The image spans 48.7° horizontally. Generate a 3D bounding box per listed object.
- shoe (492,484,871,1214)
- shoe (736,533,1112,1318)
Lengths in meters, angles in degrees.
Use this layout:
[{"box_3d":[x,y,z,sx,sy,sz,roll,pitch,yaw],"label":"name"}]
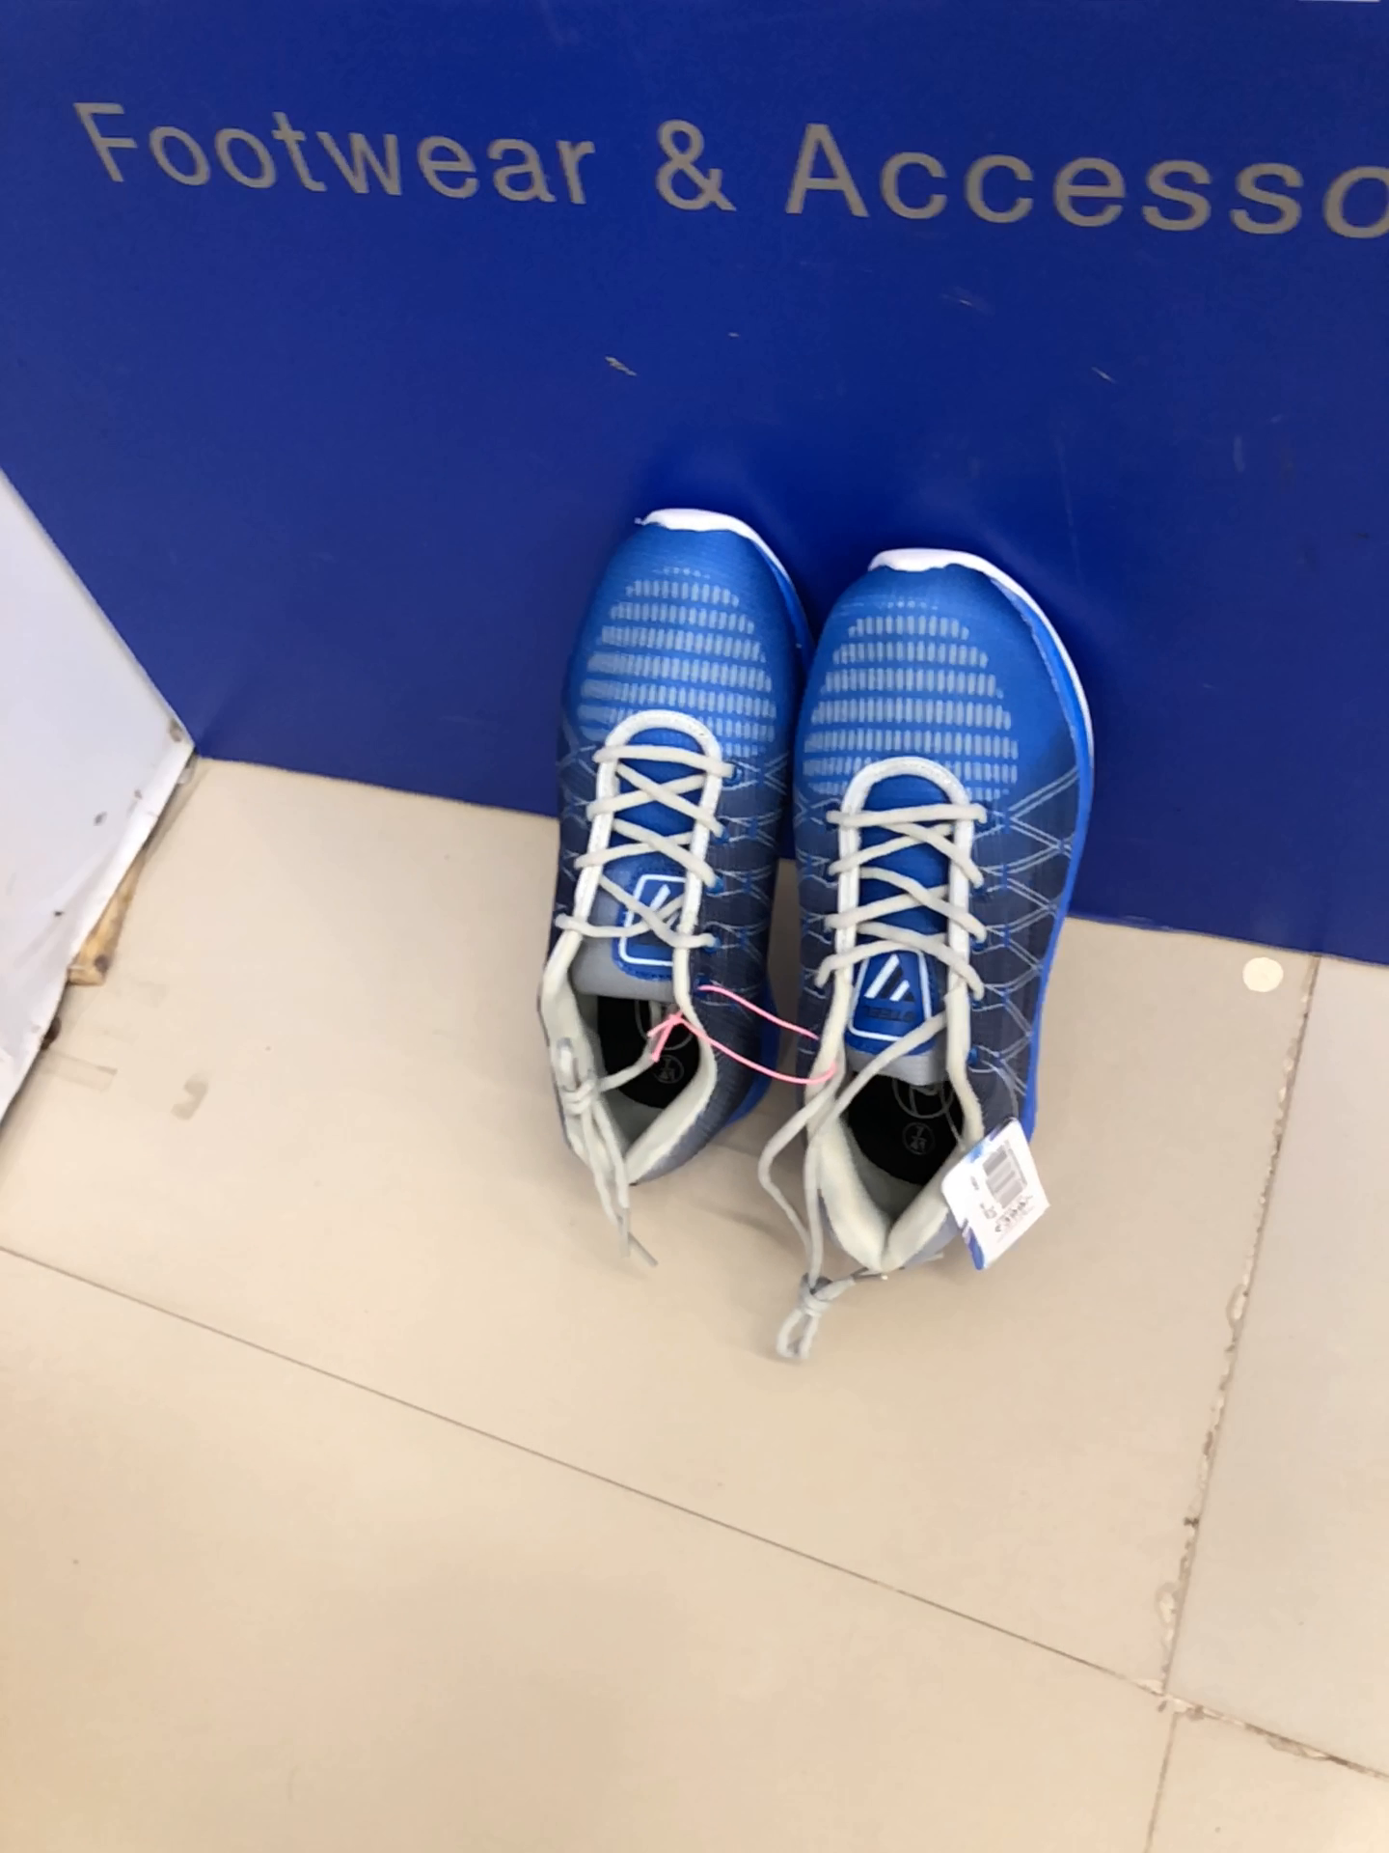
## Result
[{"box_3d":[-0.006,-0.037,0.630,0.110,0.269,0.100,9,17,16],"label":"shoe"},{"box_3d":[0.091,-0.008,0.595,0.100,0.120,0.270,7,101,21],"label":"shoe"}]
